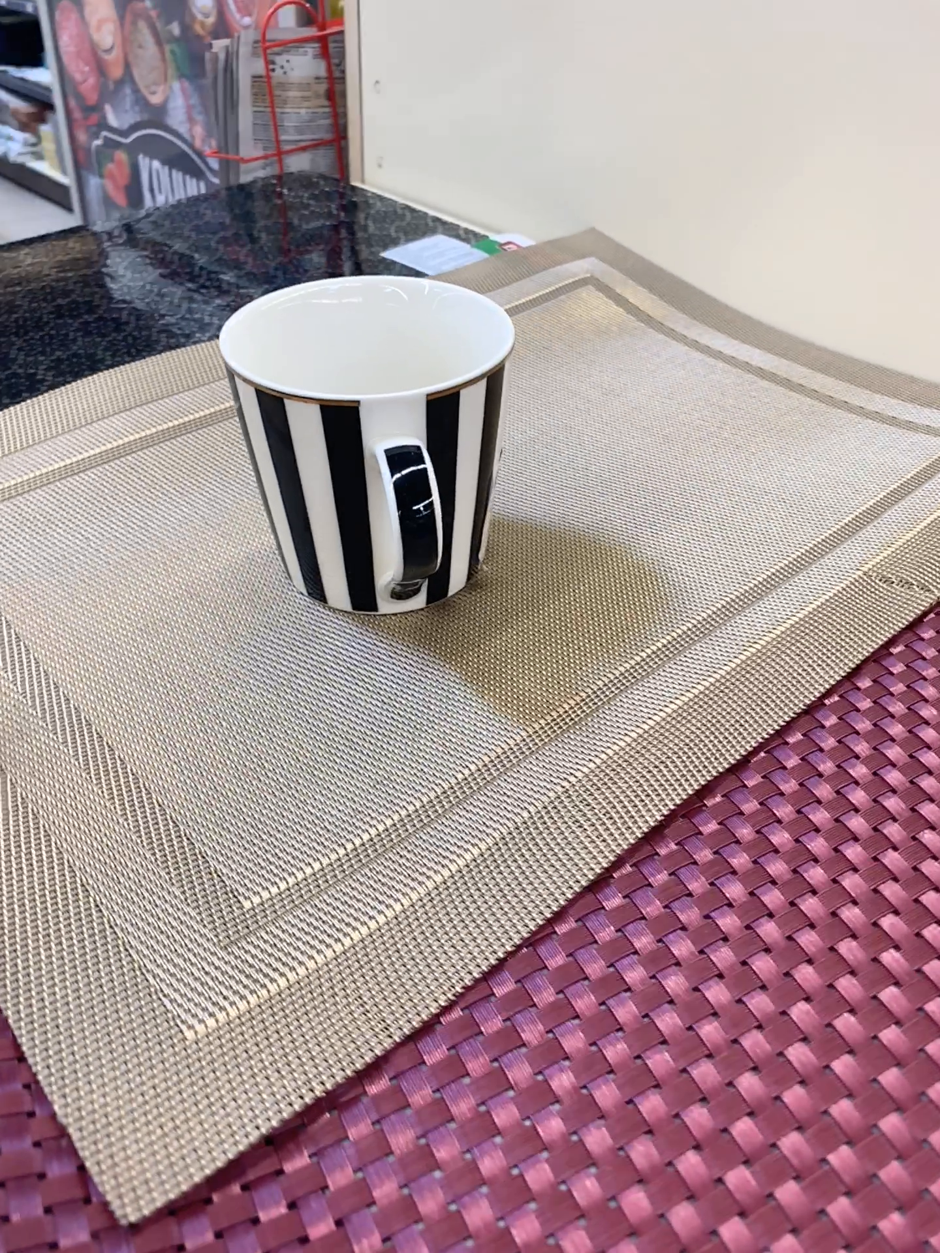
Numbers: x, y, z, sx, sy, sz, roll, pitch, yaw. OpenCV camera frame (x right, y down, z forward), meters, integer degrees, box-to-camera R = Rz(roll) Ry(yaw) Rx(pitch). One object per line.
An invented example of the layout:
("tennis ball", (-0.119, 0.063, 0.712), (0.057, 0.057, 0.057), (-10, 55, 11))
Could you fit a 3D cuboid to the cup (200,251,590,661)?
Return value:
("cup", (-0.033, -0.066, 0.333), (0.100, 0.080, 0.131), (-8, 38, -13))
